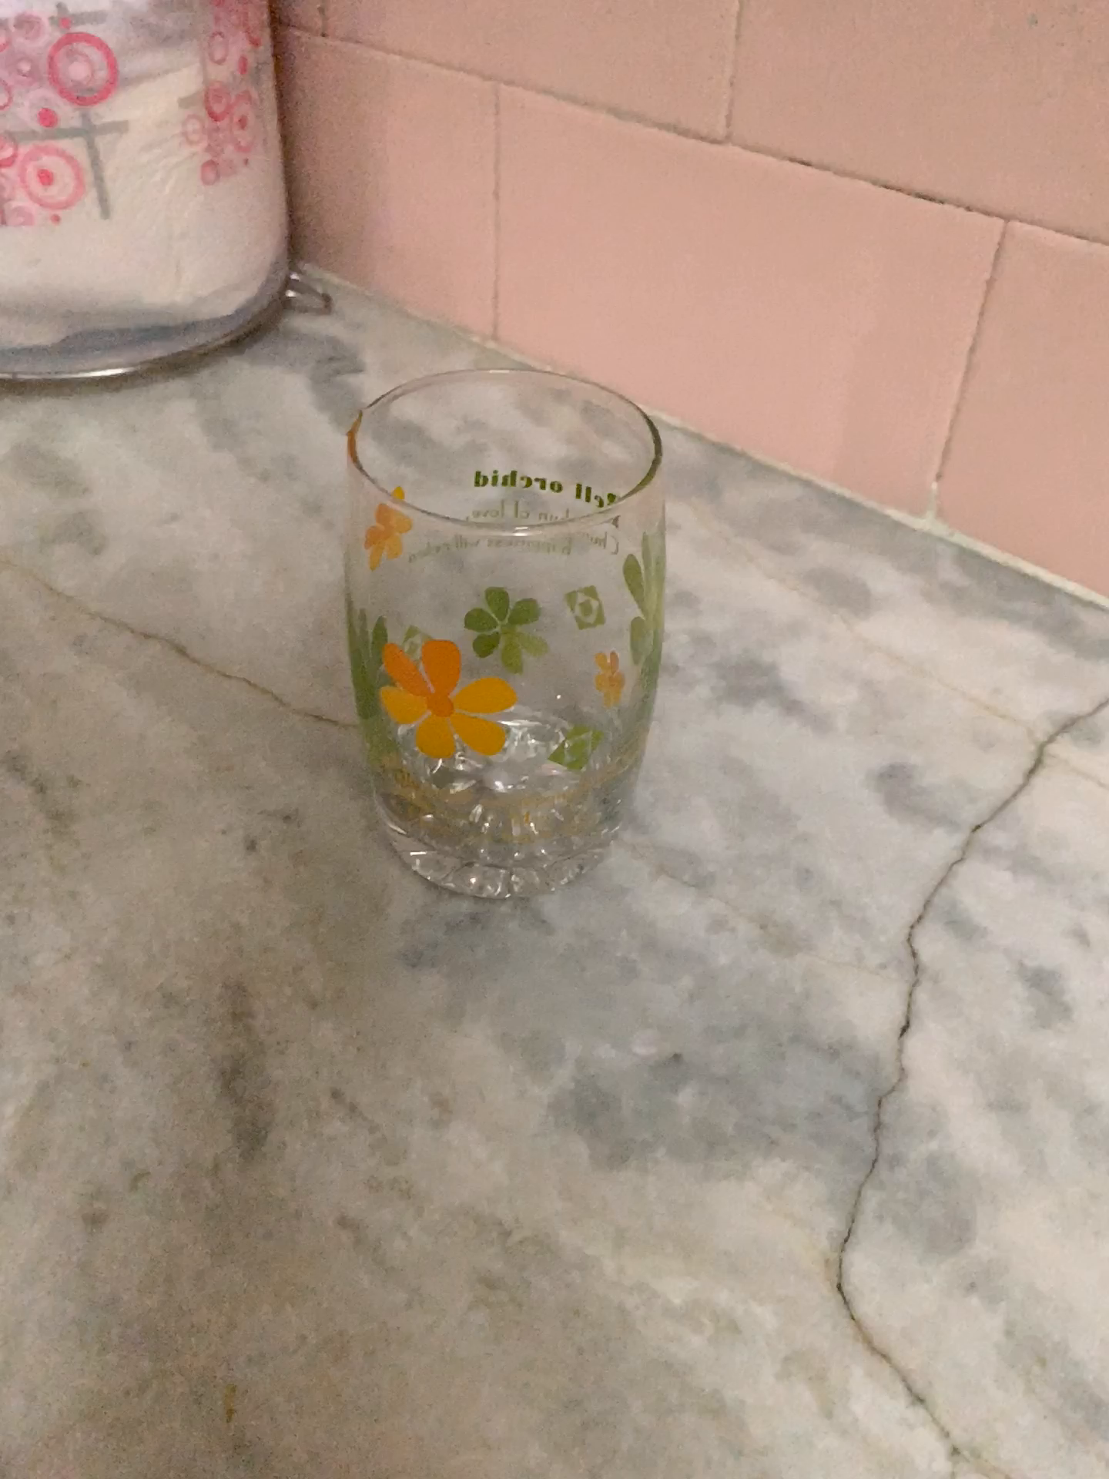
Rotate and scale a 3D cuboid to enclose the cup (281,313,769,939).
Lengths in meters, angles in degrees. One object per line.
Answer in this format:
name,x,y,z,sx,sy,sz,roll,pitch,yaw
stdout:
cup,-0.009,-0.024,0.248,0.070,0.100,0.070,1,42,-1
